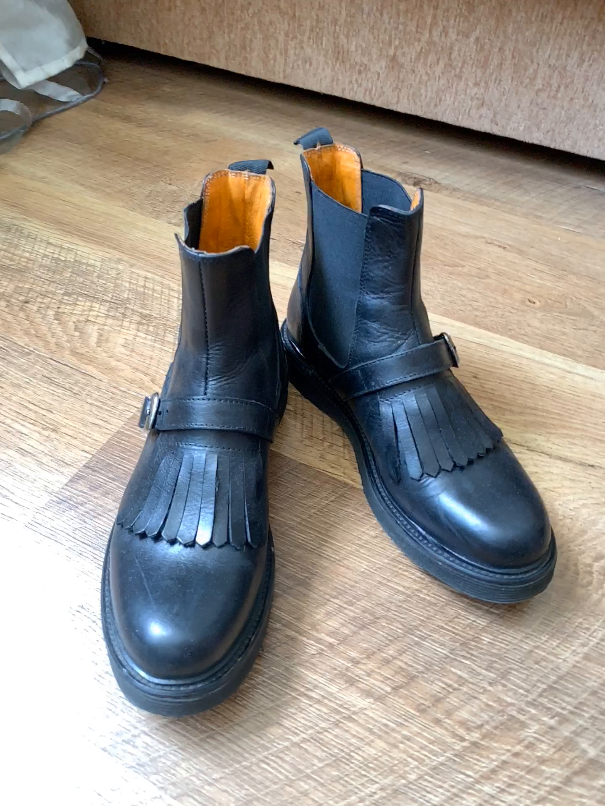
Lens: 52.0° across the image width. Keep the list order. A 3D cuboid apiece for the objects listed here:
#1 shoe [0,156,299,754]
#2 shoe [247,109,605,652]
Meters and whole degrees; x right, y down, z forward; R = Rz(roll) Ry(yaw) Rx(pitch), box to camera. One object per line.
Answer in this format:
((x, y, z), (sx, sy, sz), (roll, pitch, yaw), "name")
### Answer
((-0.055, 0.010, 0.315), (0.089, 0.151, 0.261), (3, 47, 0), "shoe")
((0.069, -0.030, 0.346), (0.100, 0.149, 0.261), (-19, 51, -19), "shoe")
